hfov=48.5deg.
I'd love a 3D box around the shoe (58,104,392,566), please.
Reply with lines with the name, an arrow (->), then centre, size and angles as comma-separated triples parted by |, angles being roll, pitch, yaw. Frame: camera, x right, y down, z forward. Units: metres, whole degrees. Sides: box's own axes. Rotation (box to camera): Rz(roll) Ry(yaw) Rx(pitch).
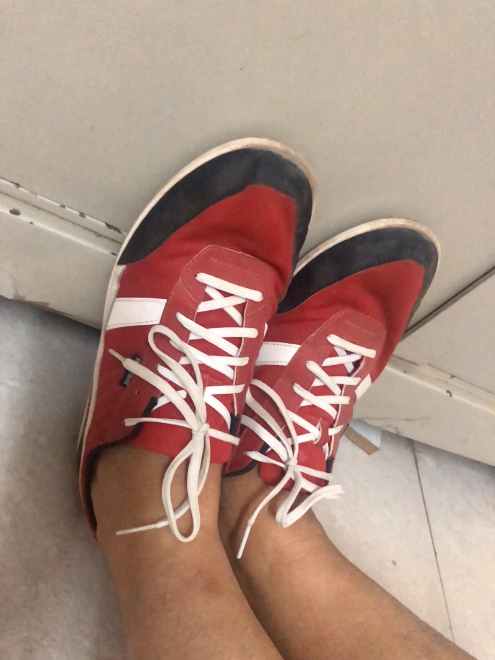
shoe -> -0.023, 0.008, 0.316 | 0.100, 0.229, 0.080 | 8, 19, -36

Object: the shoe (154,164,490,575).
shoe -> 0.039, 0.032, 0.372 | 0.100, 0.249, 0.080 | 20, 13, -27
